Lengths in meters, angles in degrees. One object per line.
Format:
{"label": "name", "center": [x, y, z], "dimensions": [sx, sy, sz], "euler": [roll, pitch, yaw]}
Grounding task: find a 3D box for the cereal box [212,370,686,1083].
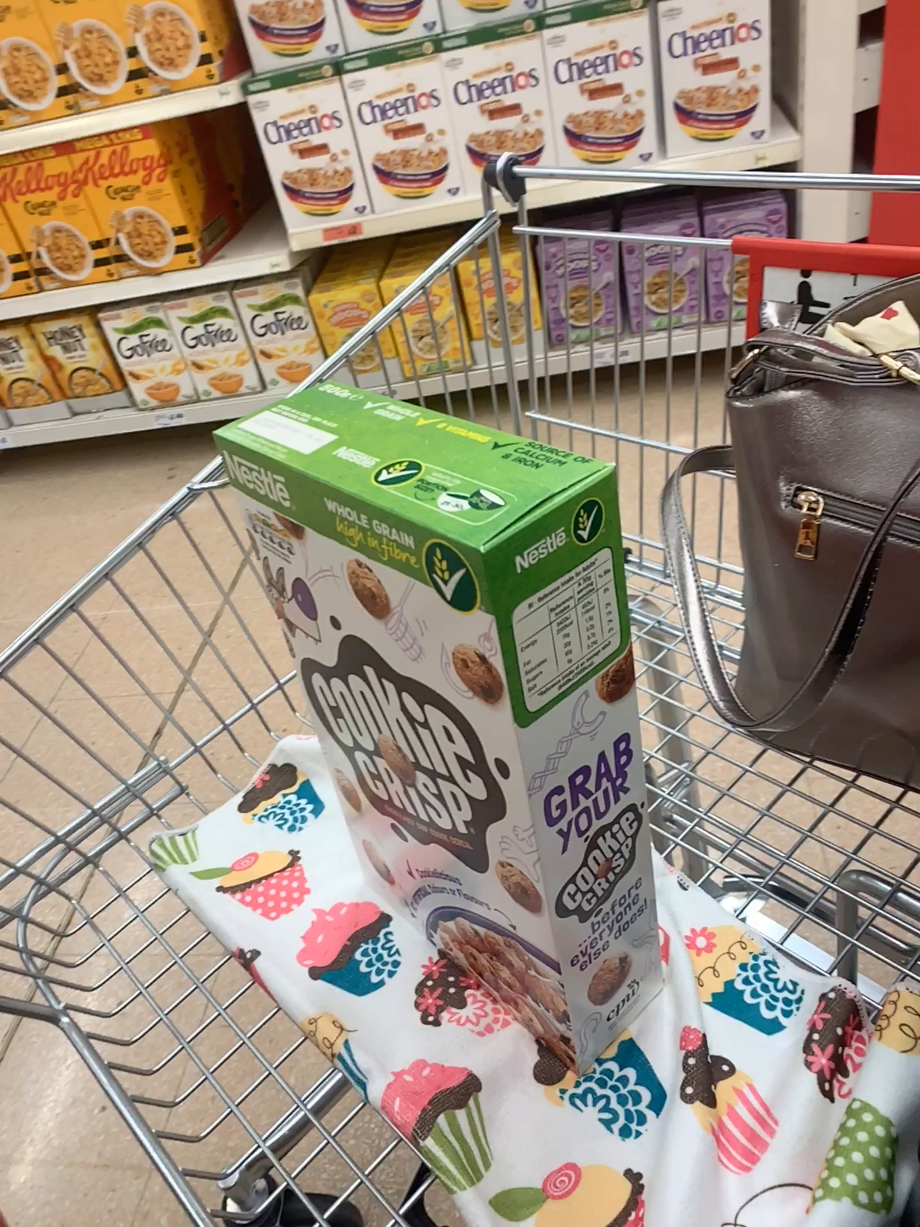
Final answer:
{"label": "cereal box", "center": [0.002, 0.055, 0.478], "dimensions": [0.070, 0.307, 0.221], "euler": [-32, 40, -30]}
